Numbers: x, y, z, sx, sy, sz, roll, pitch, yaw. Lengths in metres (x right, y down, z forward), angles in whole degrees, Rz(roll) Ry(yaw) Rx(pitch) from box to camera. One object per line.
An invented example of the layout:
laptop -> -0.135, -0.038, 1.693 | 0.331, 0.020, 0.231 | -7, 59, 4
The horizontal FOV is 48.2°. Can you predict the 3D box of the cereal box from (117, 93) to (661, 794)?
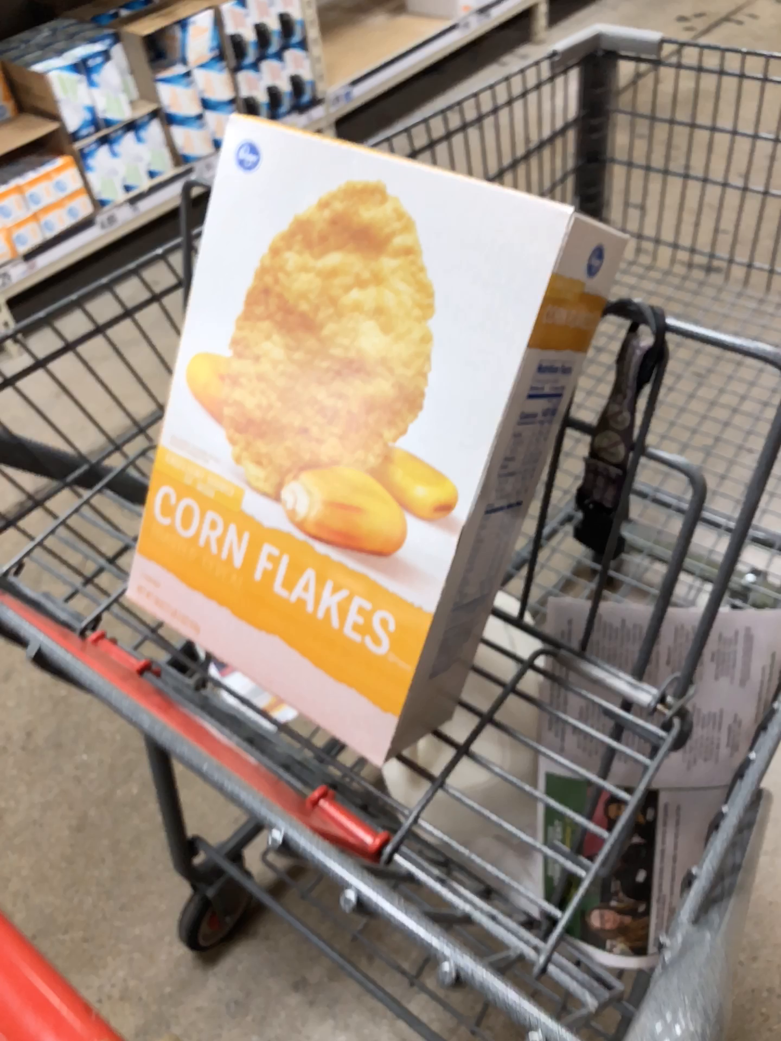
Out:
cereal box -> -0.024, -0.048, 0.483 | 0.230, 0.300, 0.080 | 27, 22, 29
